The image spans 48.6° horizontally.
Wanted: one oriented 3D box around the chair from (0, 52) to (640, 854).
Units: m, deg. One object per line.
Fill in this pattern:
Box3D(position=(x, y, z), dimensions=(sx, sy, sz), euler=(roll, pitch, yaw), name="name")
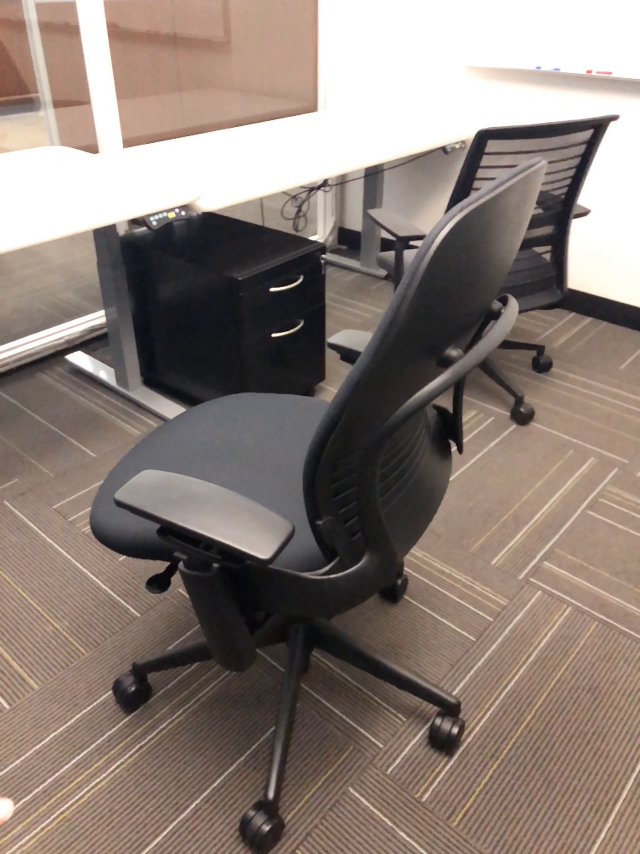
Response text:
Box3D(position=(-0.081, 0.012, 1.169), dimensions=(0.832, 1.034, 0.733), euler=(16, 35, 23), name="chair")
